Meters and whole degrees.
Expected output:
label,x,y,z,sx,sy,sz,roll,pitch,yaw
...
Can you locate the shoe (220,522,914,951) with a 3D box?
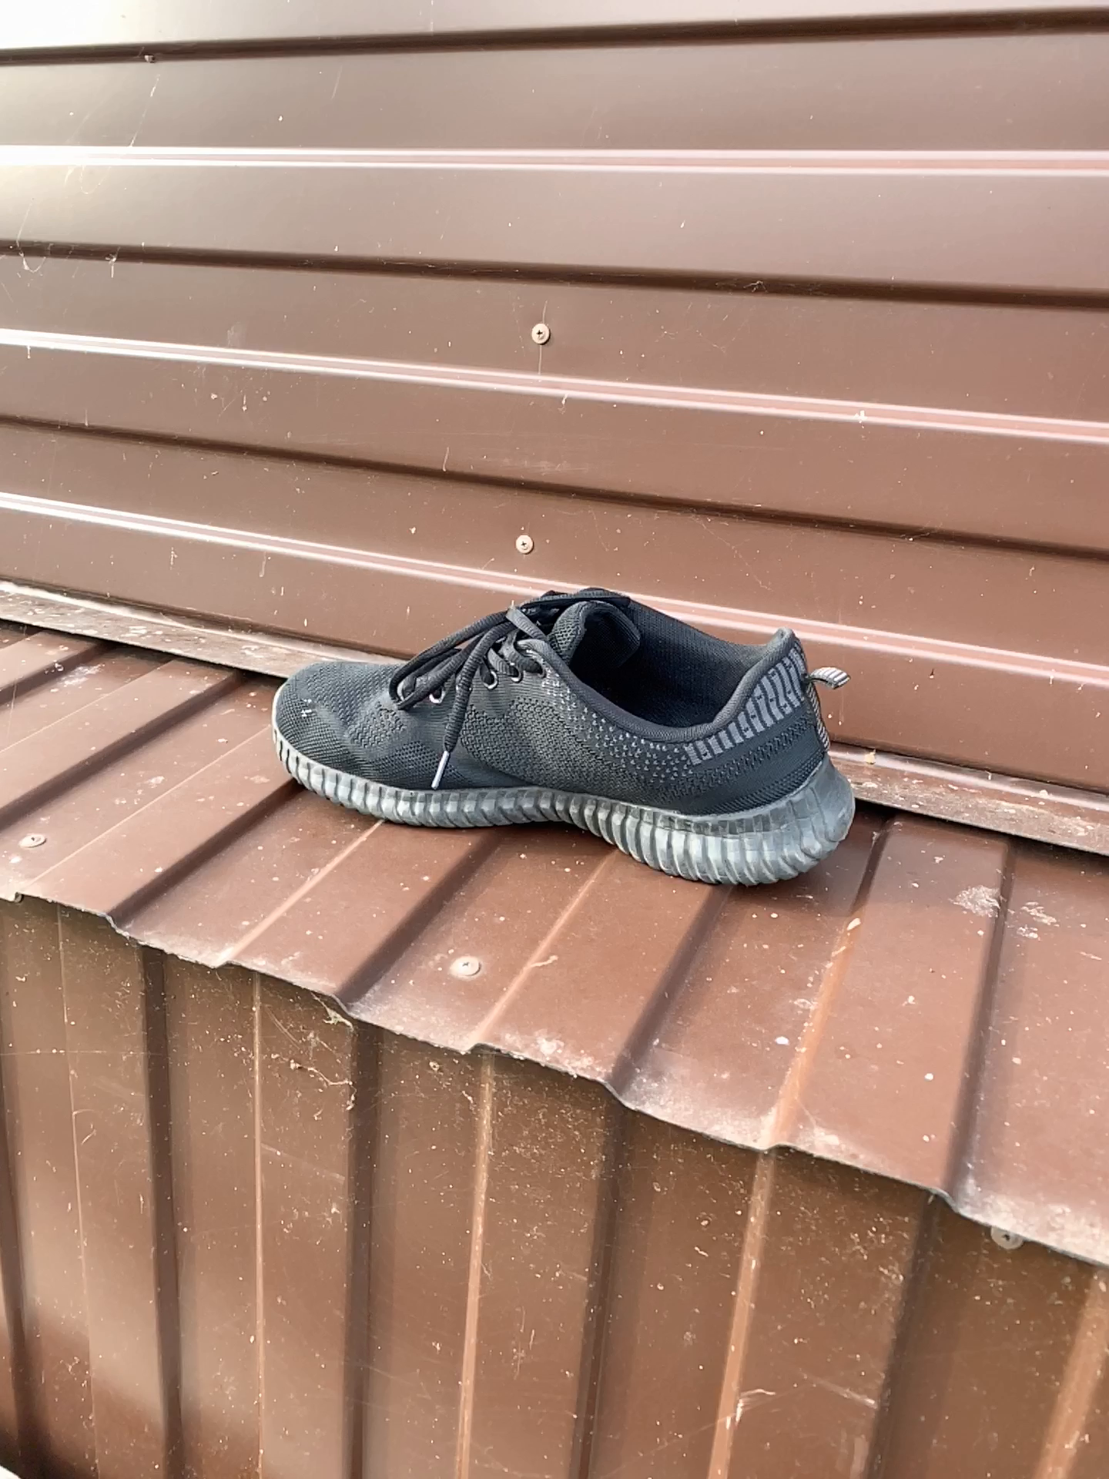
label,x,y,z,sx,sy,sz,roll,pitch,yaw
shoe,0.006,-0.015,0.555,0.300,0.119,0.121,10,29,19
